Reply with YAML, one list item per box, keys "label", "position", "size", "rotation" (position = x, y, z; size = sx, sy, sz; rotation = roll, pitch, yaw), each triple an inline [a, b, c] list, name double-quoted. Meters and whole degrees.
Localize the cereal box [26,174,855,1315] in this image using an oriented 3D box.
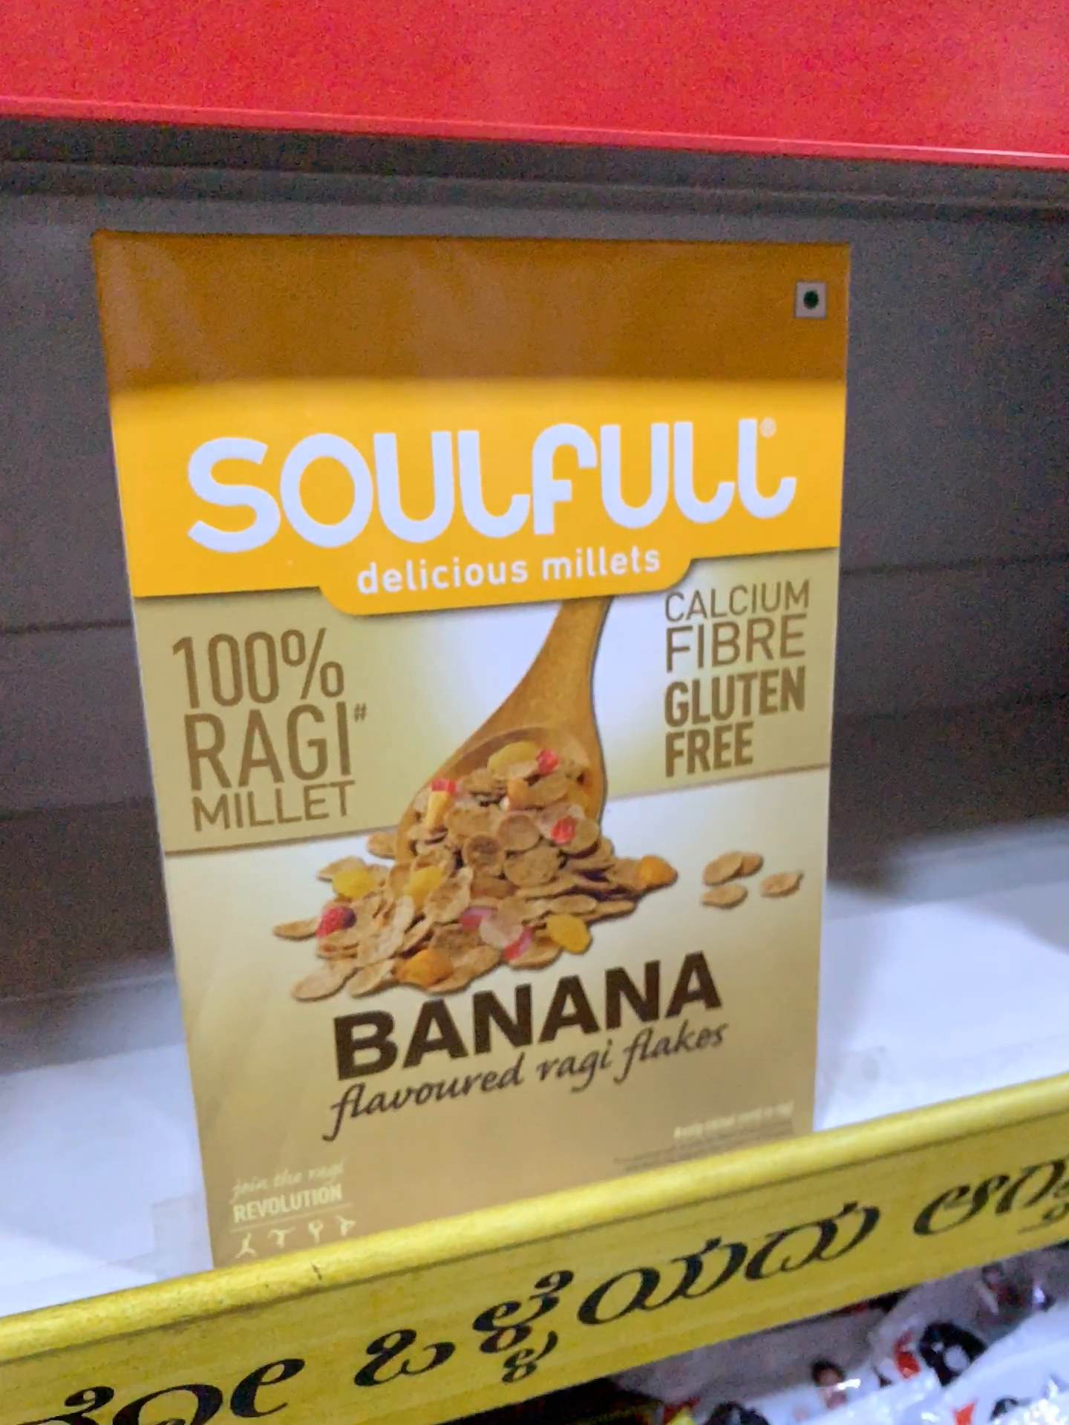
- label: "cereal box"
  position: [-0.015, 0.004, 0.268]
  size: [0.160, 0.229, 0.060]
  rotation: [-6, 15, -17]
